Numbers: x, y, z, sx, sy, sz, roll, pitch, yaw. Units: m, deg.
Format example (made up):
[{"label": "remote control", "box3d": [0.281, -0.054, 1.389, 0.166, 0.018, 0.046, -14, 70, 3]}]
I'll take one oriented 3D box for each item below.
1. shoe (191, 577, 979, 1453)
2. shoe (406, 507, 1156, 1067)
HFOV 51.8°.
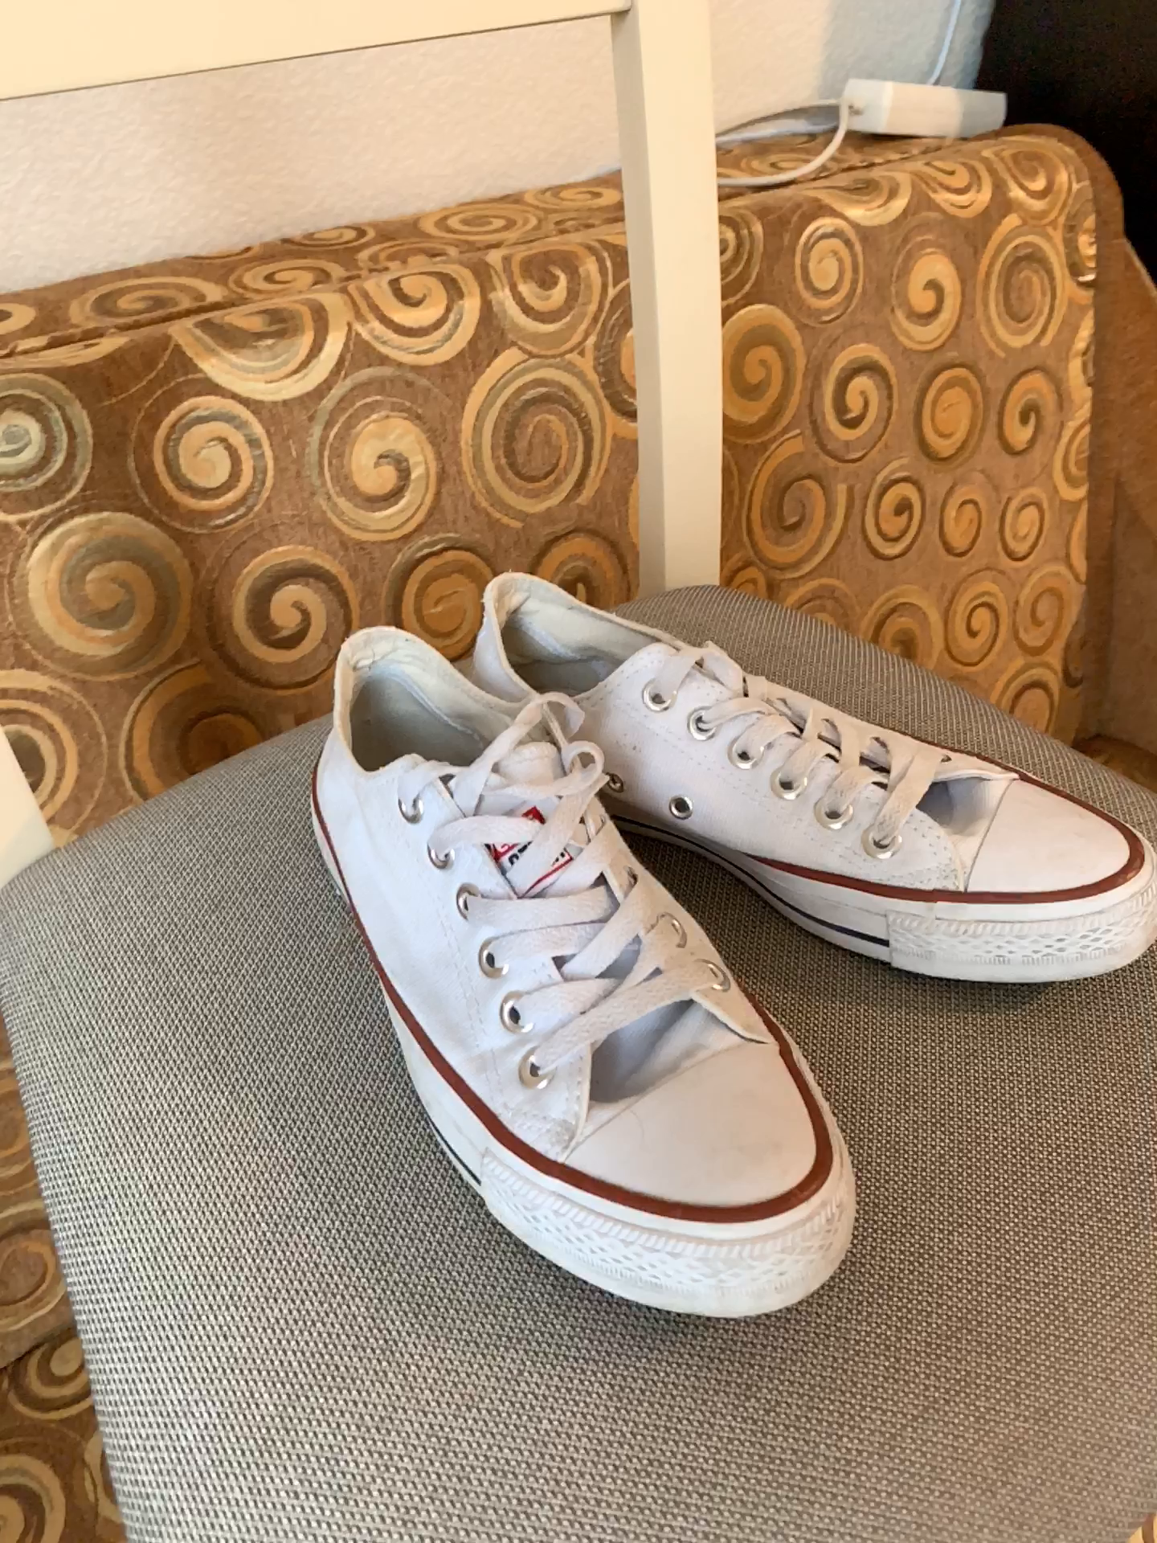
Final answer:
[{"label": "shoe", "box3d": [-0.015, 0.042, 0.317, 0.090, 0.060, 0.221, -23, 50, -24]}, {"label": "shoe", "box3d": [0.065, -0.006, 0.373, 0.220, 0.060, 0.090, 21, 47, 19]}]
